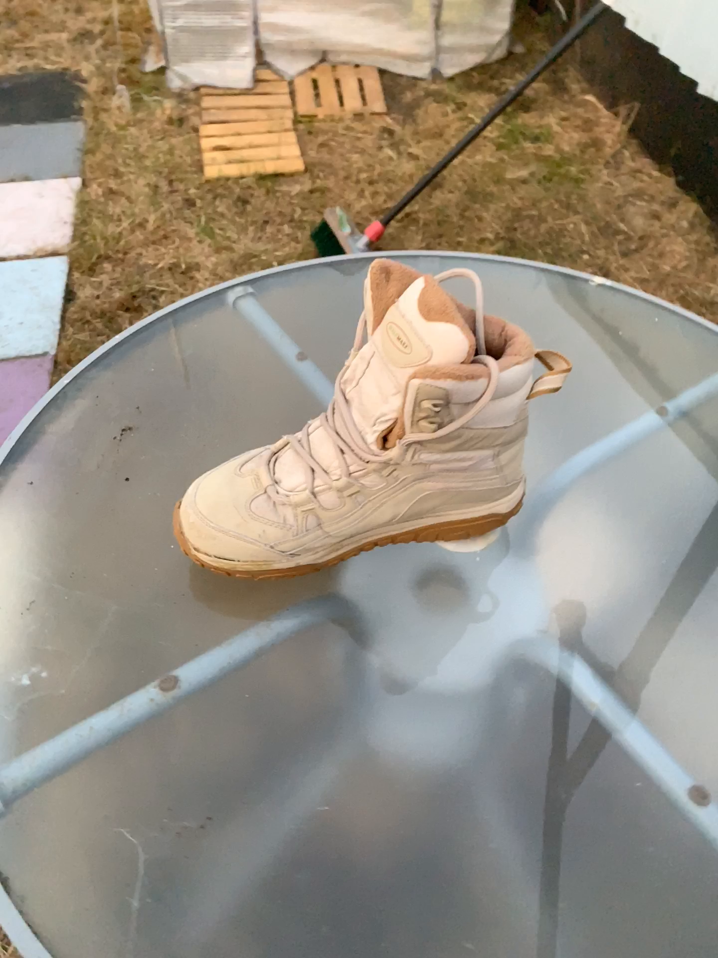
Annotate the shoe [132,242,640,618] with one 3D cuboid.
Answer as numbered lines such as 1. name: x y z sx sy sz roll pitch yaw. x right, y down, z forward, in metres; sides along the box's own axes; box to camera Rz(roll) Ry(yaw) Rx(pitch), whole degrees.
1. shoe: 0.008 -0.030 0.509 0.280 0.198 0.121 -8 49 -8
